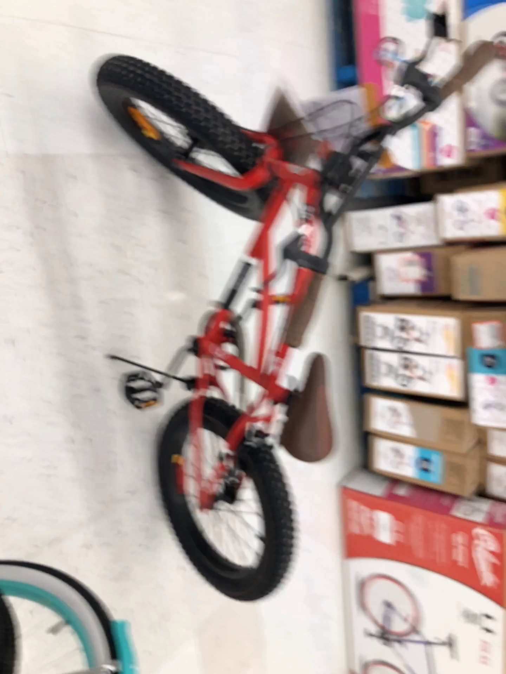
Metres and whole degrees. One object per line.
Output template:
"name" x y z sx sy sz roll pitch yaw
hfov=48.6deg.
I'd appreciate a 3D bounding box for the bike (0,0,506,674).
"bike" -0.046 0.044 1.296 0.611 0.967 1.357 -24 108 -48
